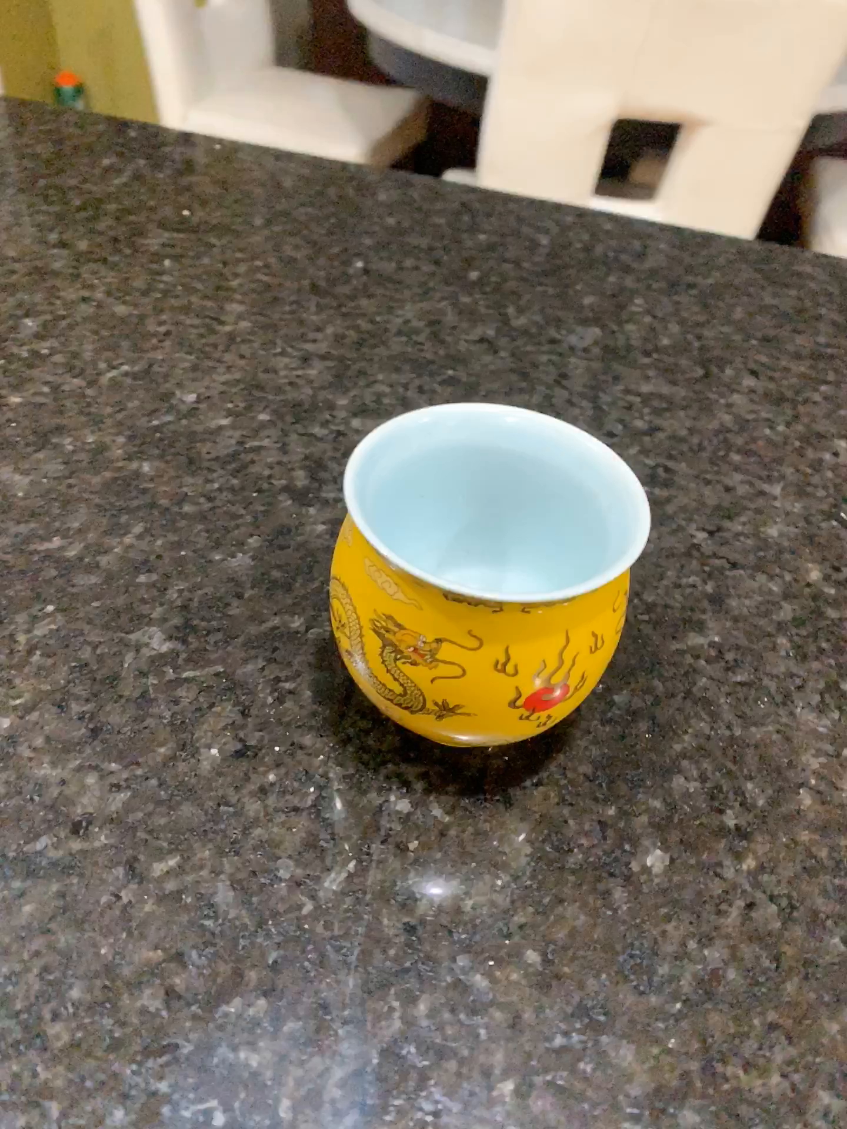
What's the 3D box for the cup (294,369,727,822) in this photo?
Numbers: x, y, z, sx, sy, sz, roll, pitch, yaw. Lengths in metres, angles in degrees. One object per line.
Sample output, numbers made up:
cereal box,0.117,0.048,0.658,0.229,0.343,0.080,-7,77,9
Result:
cup,0.012,0.004,0.211,0.072,0.066,0.076,4,42,-3
